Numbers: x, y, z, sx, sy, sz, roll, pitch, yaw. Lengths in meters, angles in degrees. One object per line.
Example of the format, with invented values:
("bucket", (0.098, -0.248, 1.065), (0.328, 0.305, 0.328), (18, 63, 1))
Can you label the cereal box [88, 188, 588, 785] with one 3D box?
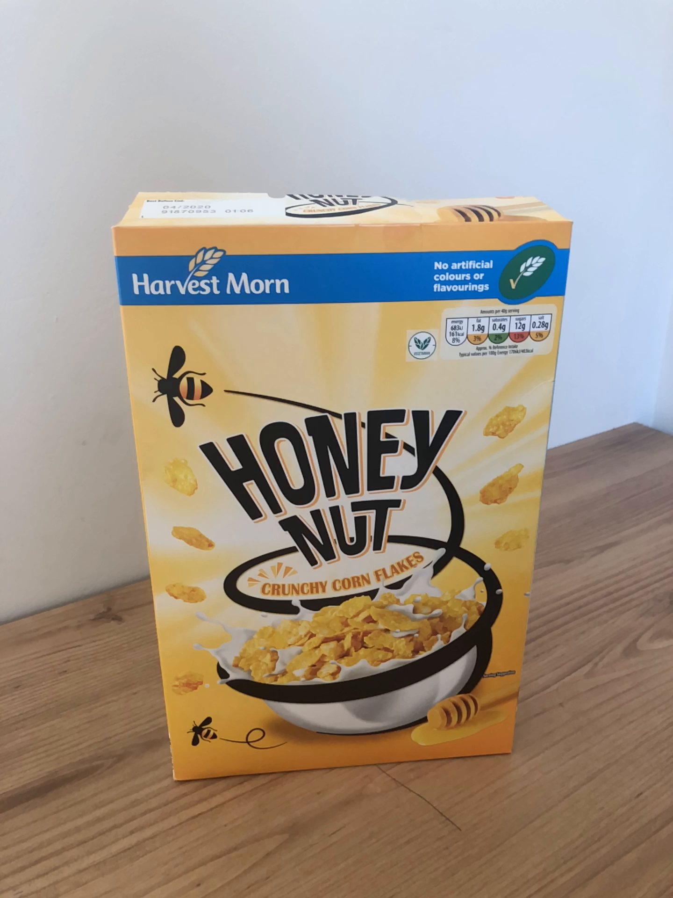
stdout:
("cereal box", (0.001, 0.028, 0.382), (0.200, 0.298, 0.060), (-2, 23, -5))
